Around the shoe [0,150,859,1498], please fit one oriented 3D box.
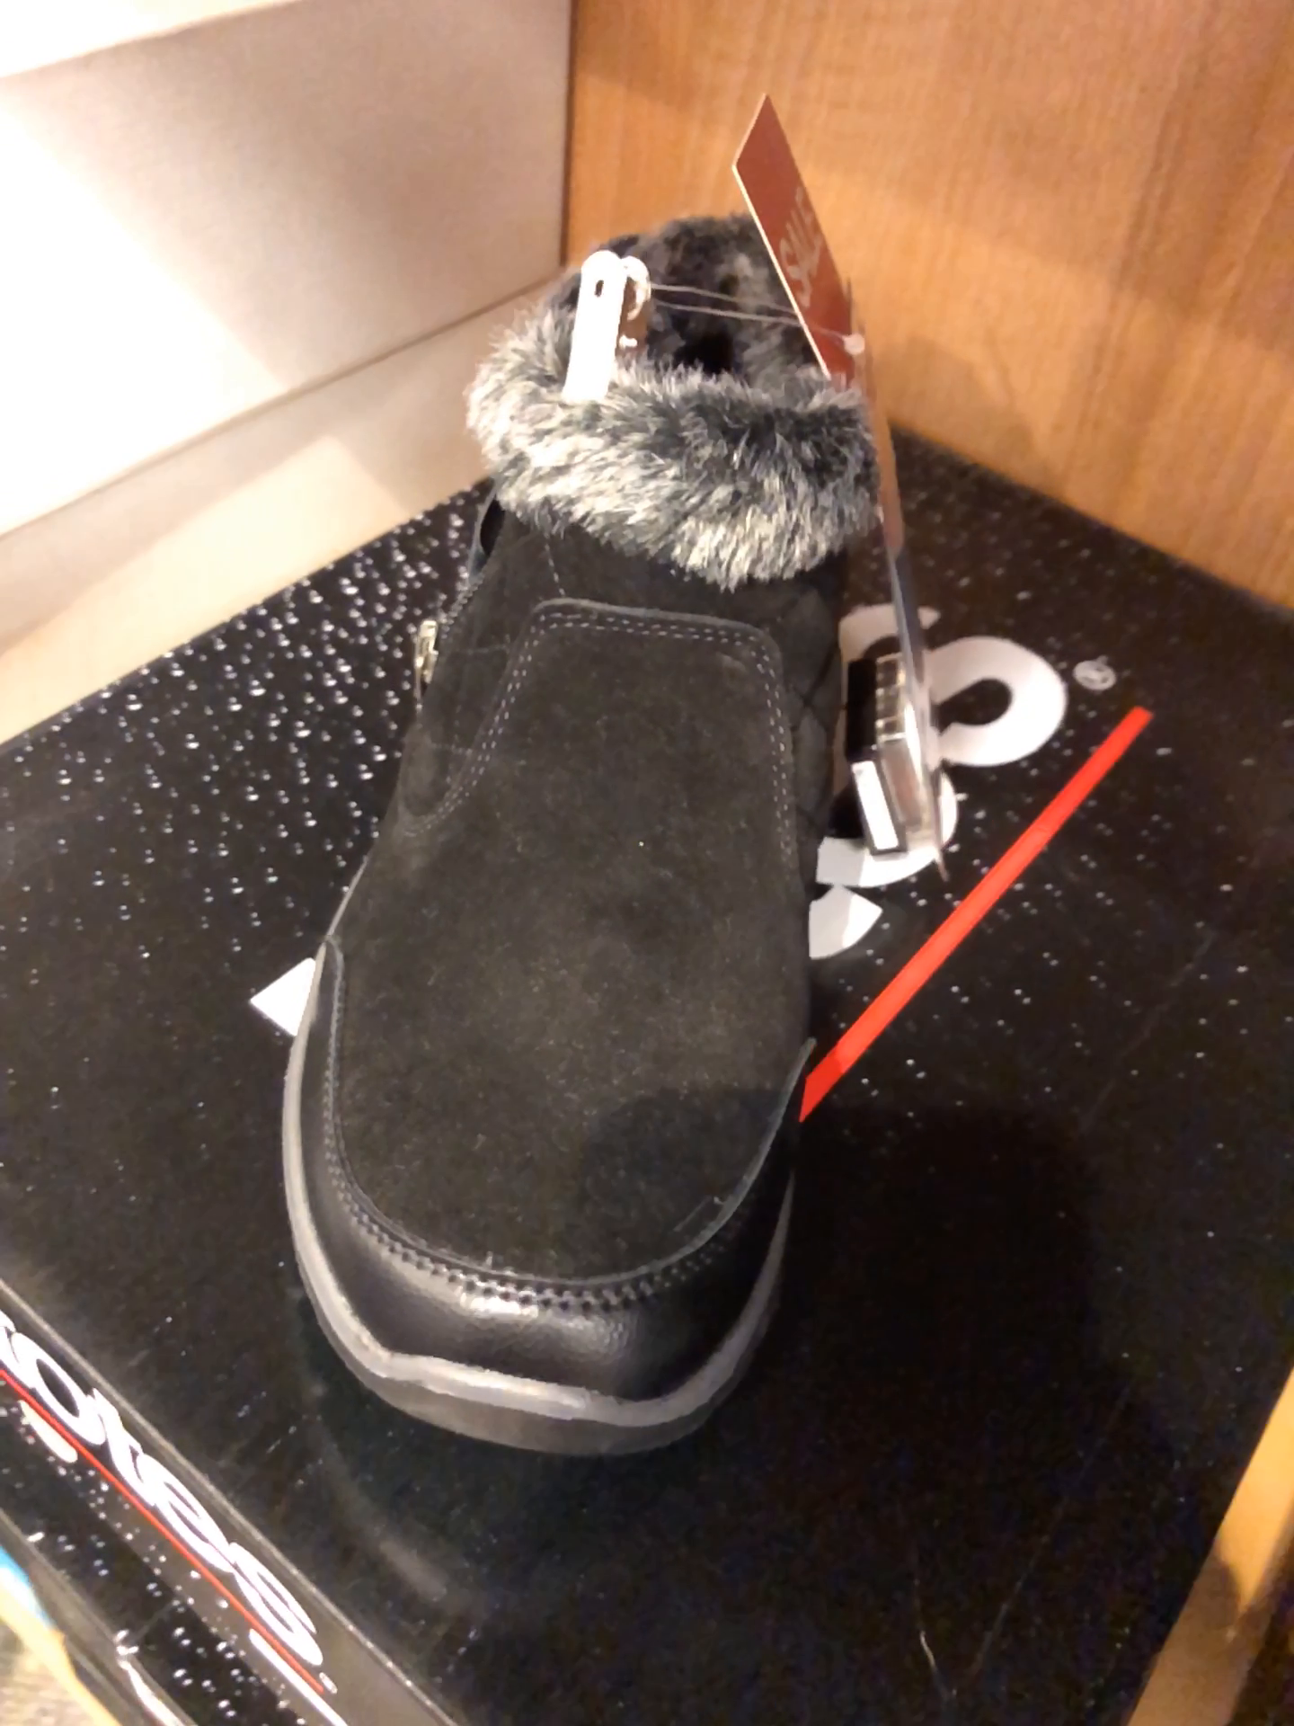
[{"bbox_3d":[-0.024,-0.030,0.288,0.105,0.113,0.250,9,46,0],"label":"shoe"}]
